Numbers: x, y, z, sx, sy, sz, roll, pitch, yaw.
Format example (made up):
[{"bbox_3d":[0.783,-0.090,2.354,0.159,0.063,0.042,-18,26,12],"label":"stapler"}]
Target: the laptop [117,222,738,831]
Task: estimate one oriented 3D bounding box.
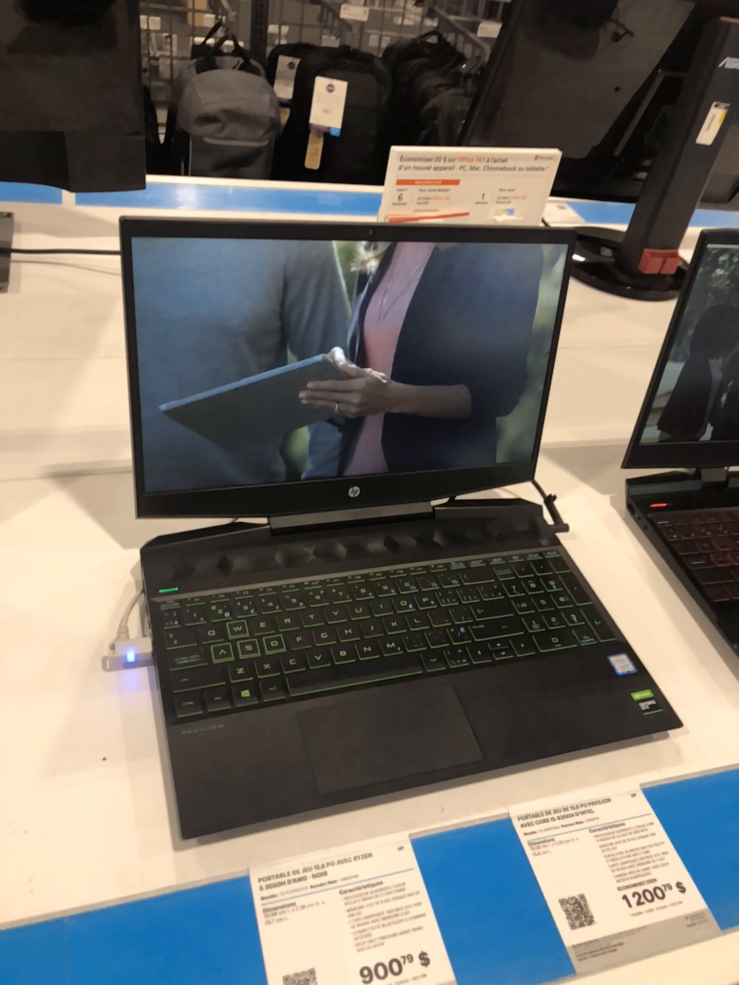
[{"bbox_3d":[0.028,-0.007,0.572,0.355,0.232,0.317,-5,41,-21],"label":"laptop"}]
